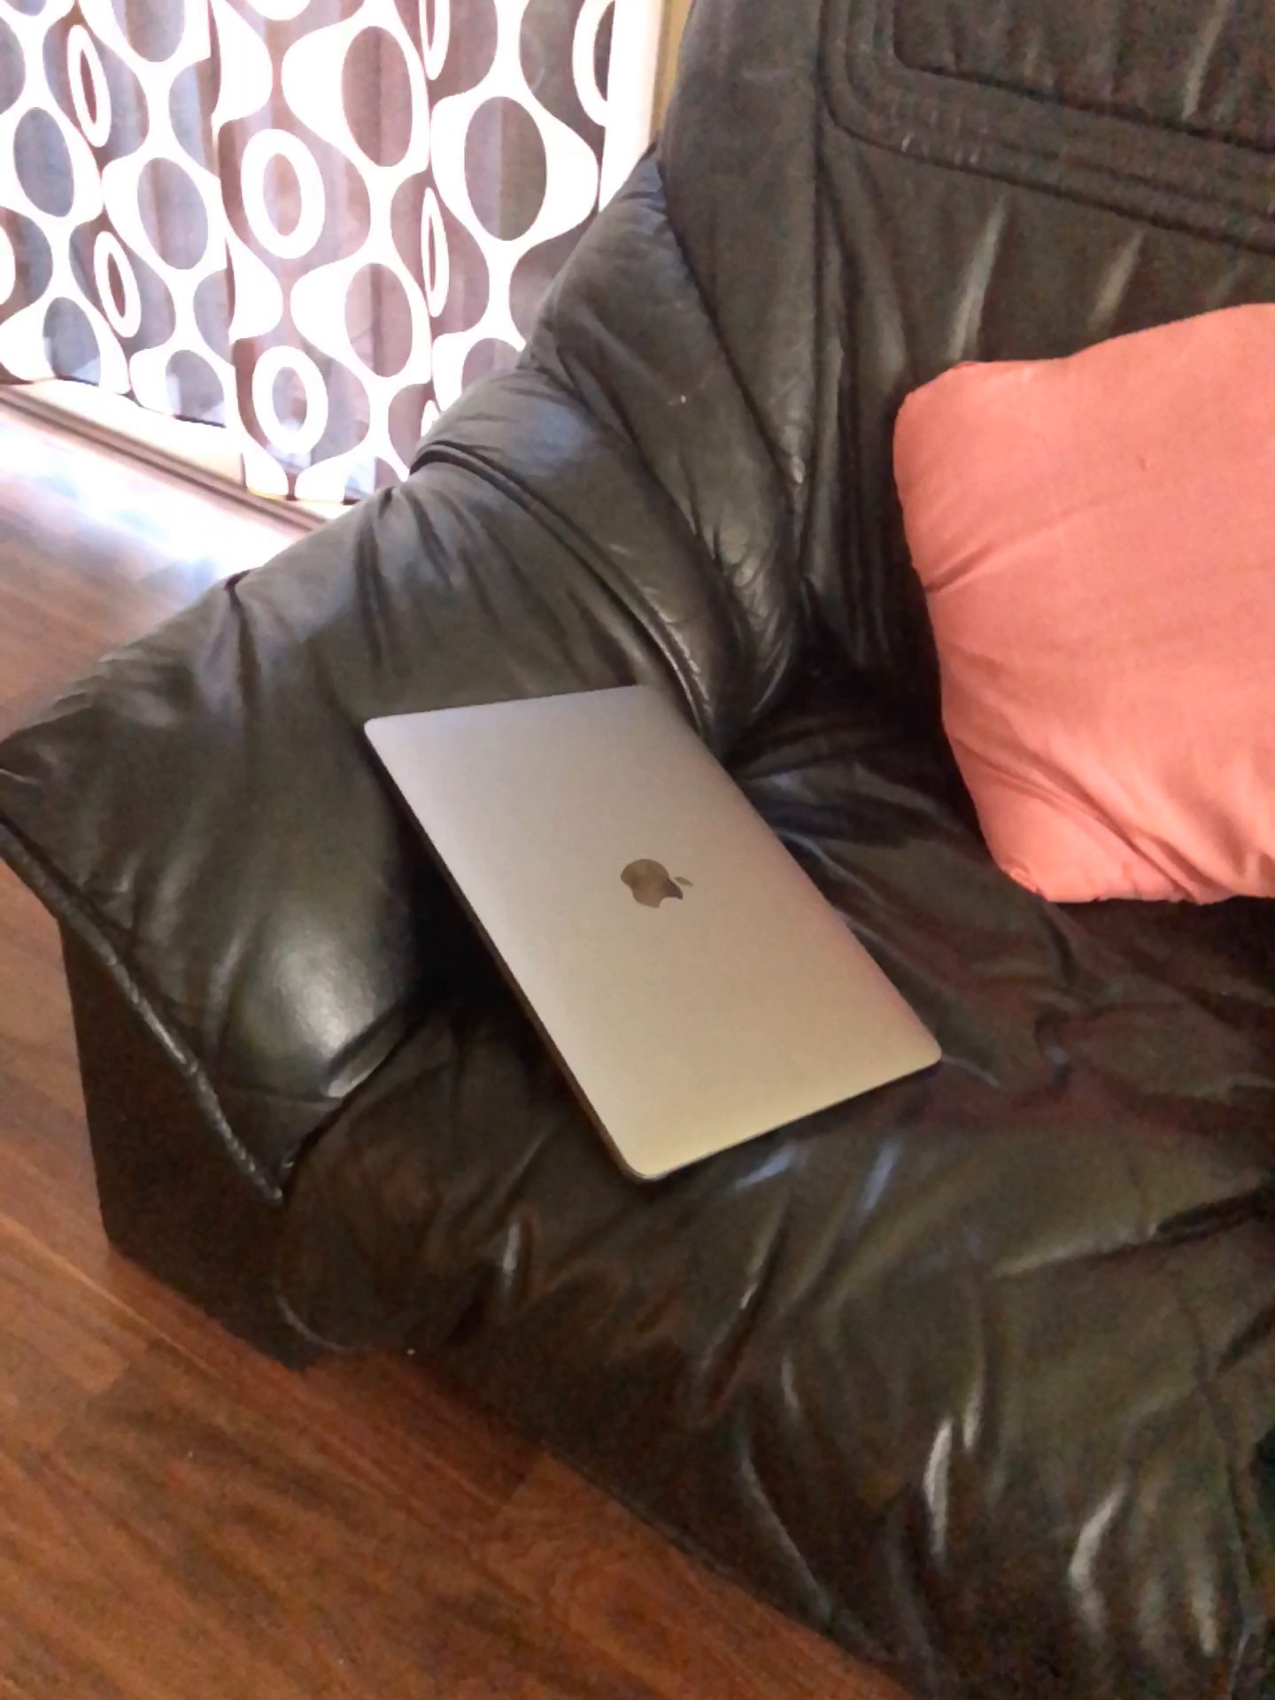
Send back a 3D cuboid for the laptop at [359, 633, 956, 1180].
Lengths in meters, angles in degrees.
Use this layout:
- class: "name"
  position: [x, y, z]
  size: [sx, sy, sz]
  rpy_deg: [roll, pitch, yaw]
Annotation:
- class: "laptop"
  position: [0.006, 0.005, 0.662]
  size: [0.185, 0.036, 0.265]
  rpy_deg: [-11, 53, -38]
